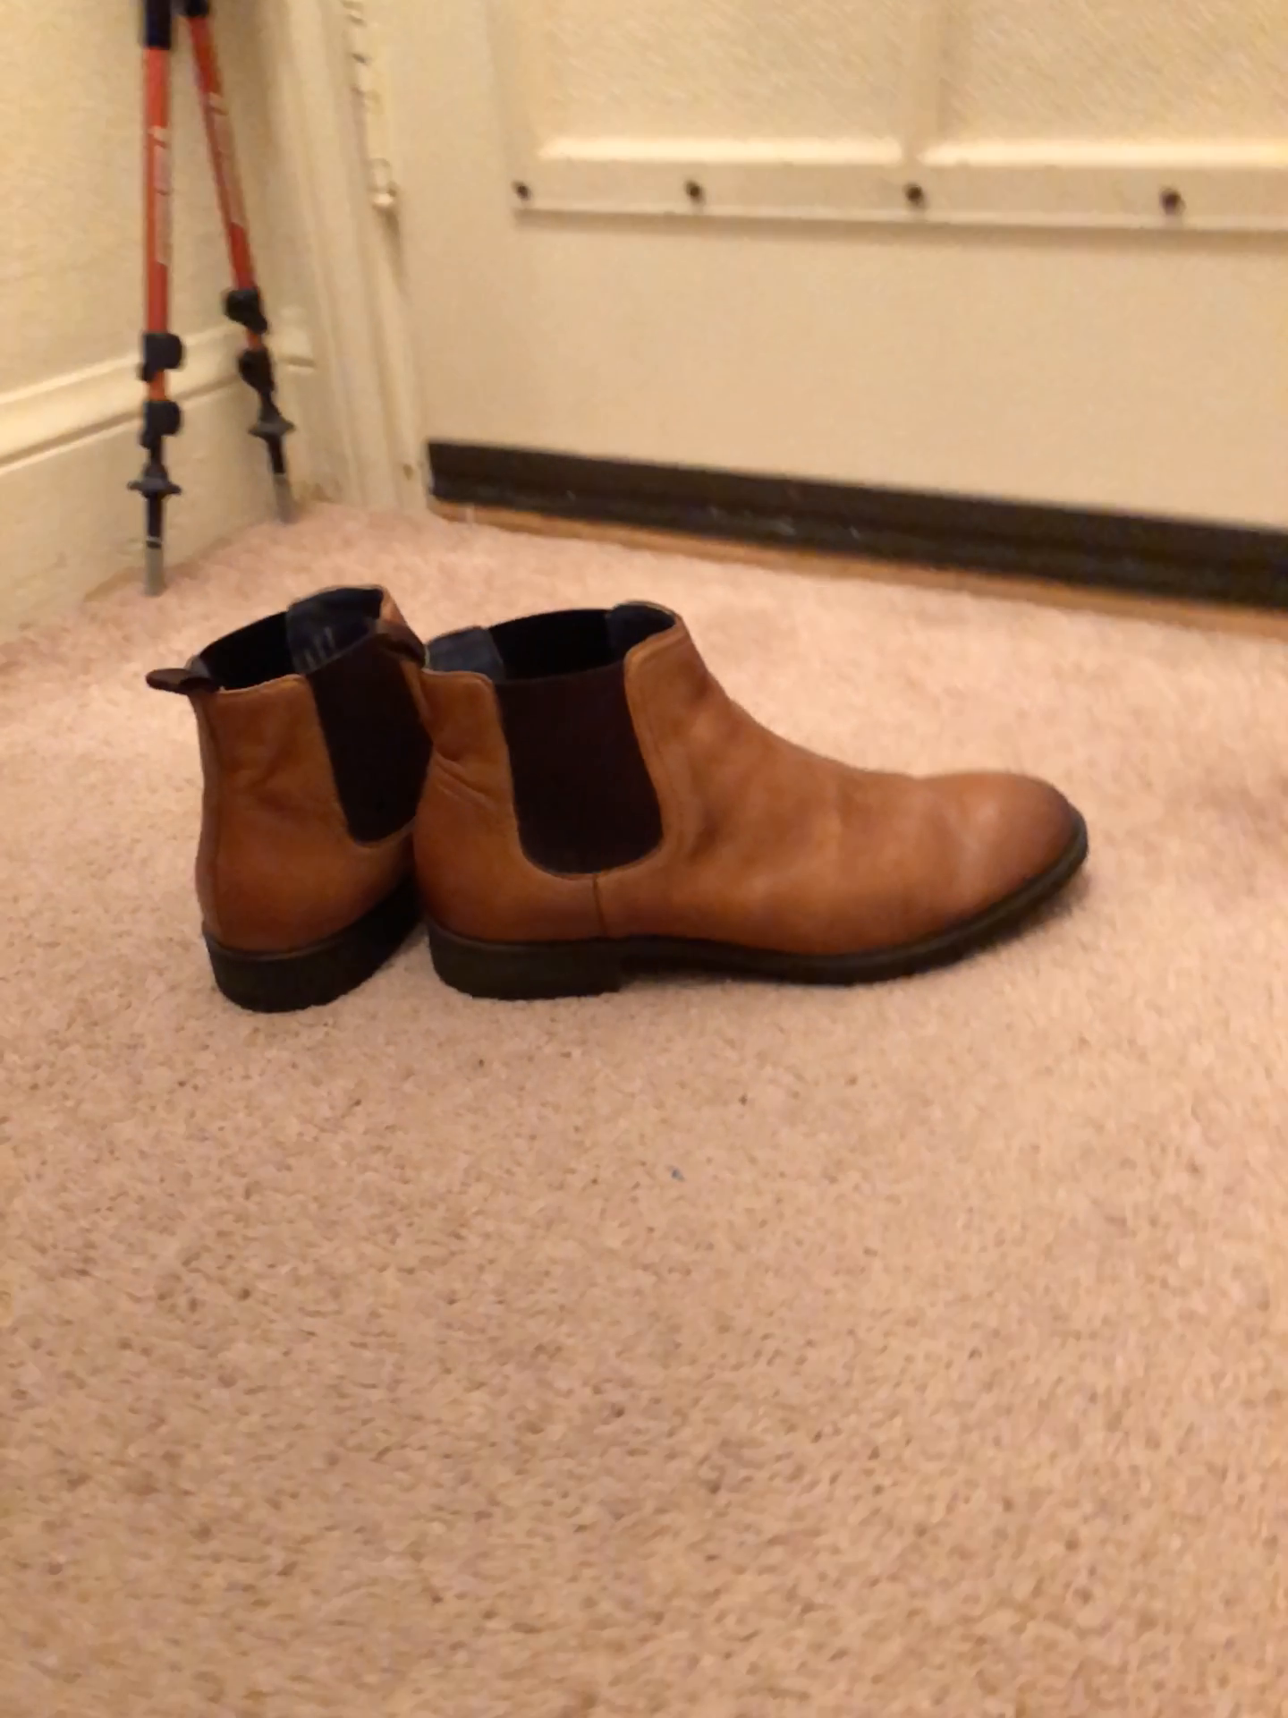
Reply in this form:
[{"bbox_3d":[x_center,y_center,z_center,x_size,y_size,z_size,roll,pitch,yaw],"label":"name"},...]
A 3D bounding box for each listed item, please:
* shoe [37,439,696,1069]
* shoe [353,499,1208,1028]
[{"bbox_3d":[-0.105,-0.071,0.687,0.109,0.165,0.314,16,38,28],"label":"shoe"},{"bbox_3d":[0.052,-0.042,0.606,0.312,0.165,0.110,-5,32,-2],"label":"shoe"}]
